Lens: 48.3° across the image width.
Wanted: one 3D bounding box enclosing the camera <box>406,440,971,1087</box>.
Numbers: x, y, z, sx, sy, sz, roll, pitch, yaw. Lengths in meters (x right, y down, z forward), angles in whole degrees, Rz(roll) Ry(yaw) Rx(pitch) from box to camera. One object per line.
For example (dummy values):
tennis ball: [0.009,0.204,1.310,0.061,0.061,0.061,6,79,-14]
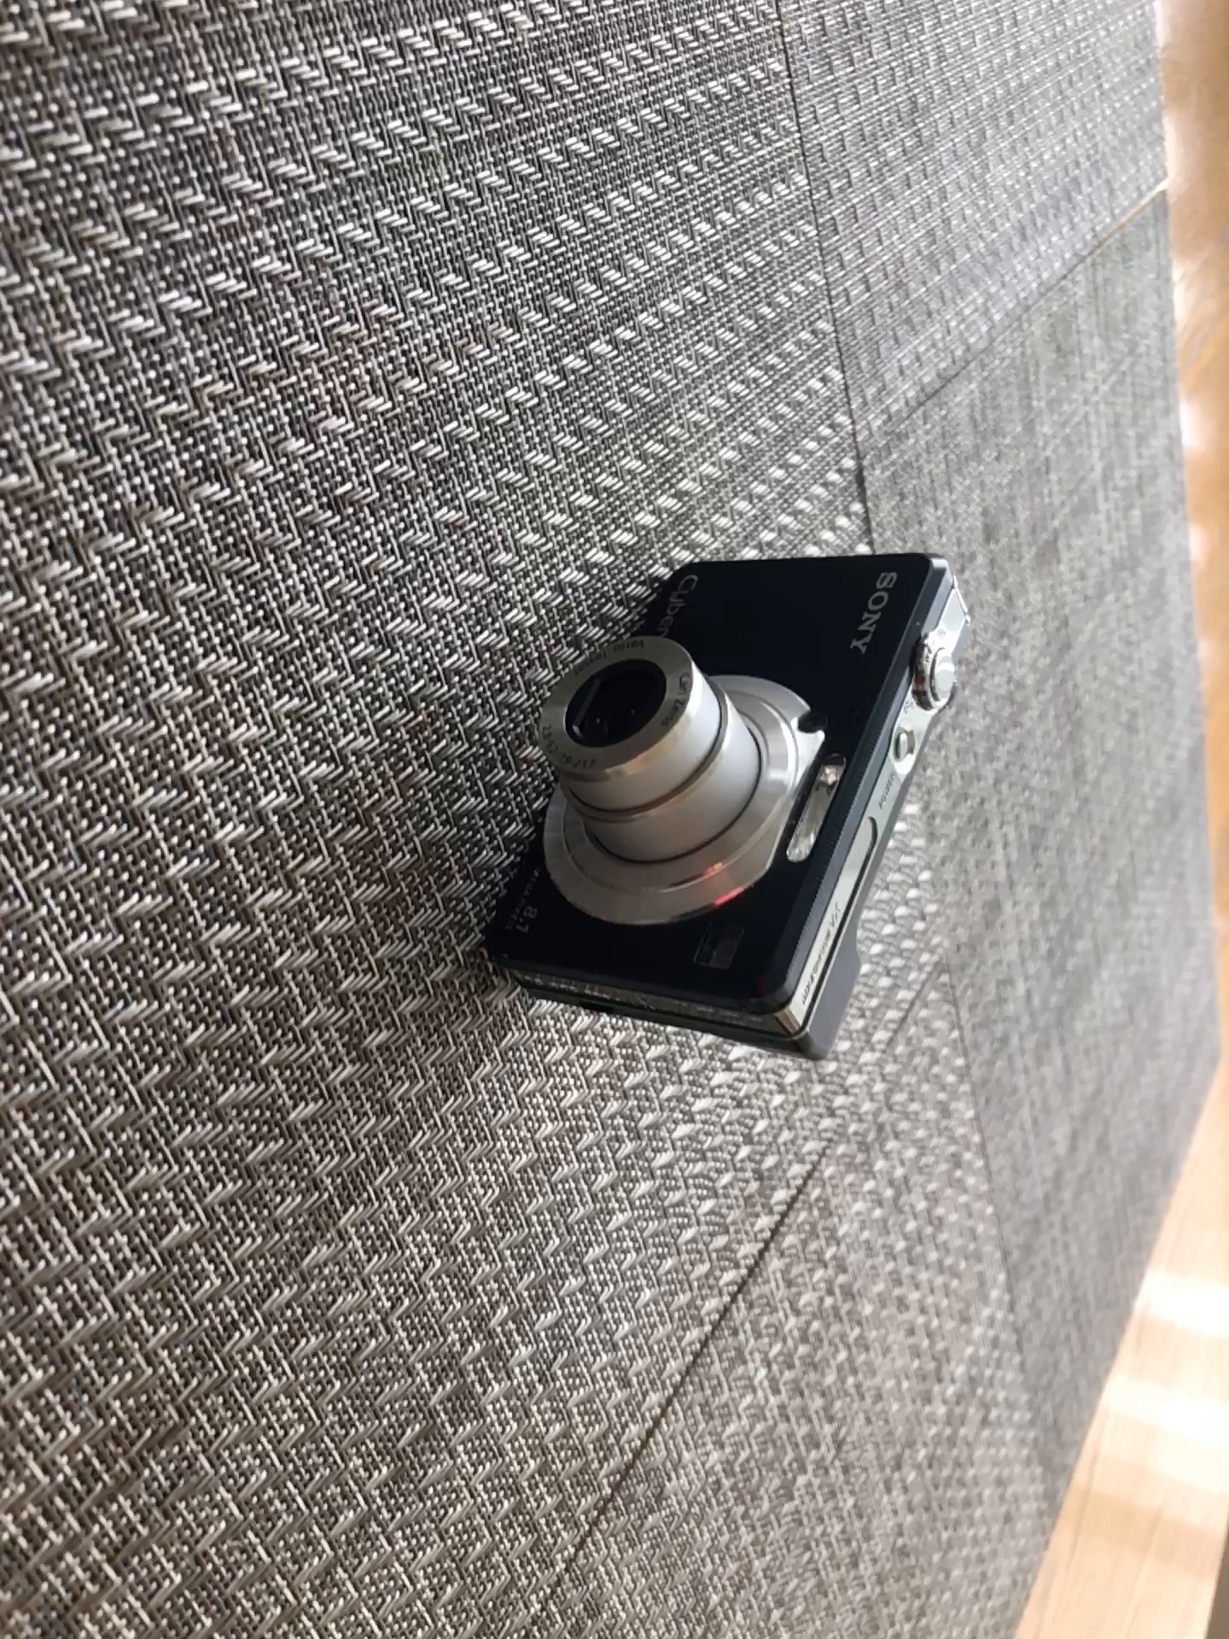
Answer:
camera: [0.018,-0.012,0.237,0.049,0.052,0.095,54,52,-44]
